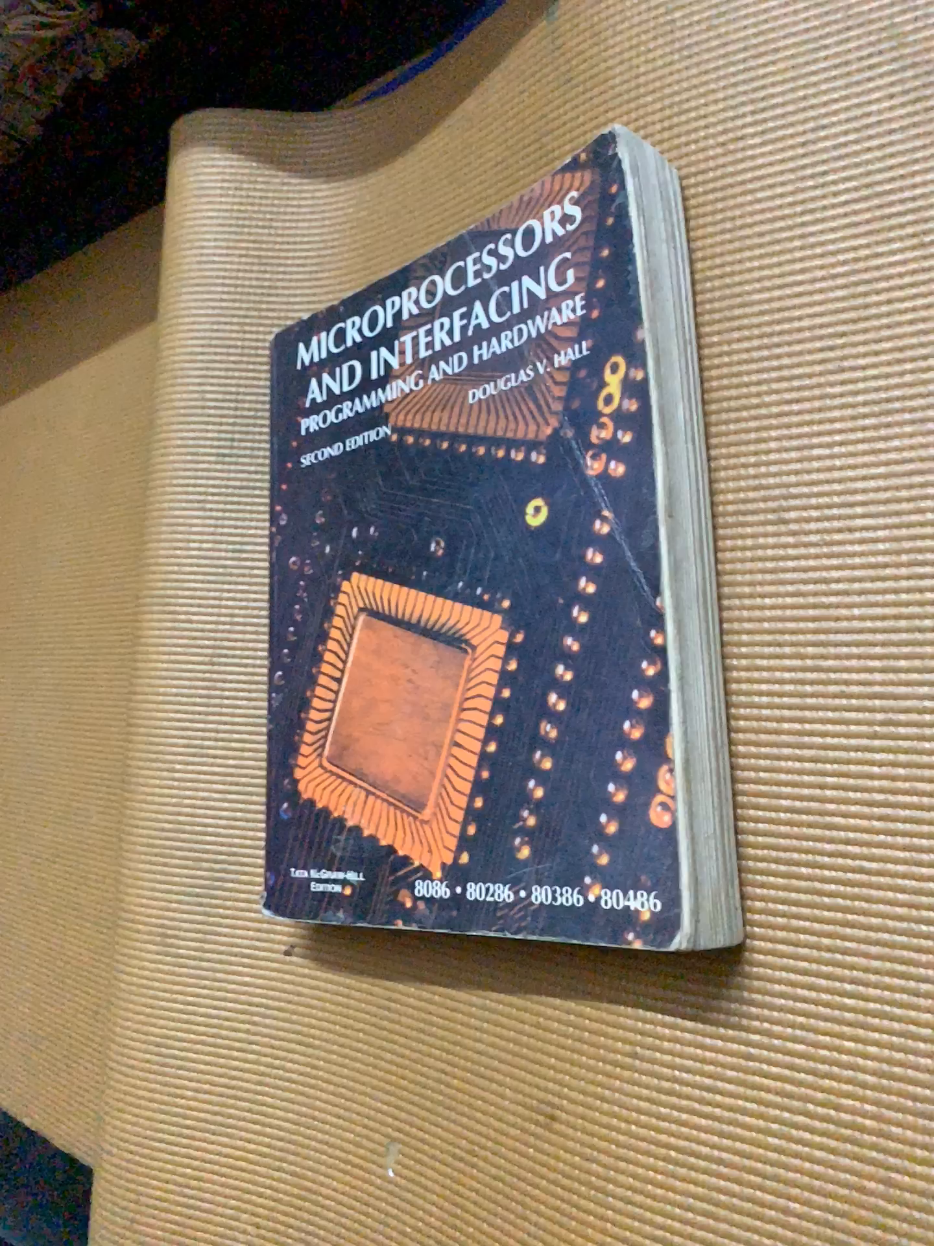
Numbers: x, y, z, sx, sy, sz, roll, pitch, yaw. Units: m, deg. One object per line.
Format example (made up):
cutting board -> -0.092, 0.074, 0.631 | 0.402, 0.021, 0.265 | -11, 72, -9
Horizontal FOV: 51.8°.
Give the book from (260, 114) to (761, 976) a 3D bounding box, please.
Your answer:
book -> -0.001, -0.023, 0.478 | 0.260, 0.060, 0.339 | -11, 77, 43
